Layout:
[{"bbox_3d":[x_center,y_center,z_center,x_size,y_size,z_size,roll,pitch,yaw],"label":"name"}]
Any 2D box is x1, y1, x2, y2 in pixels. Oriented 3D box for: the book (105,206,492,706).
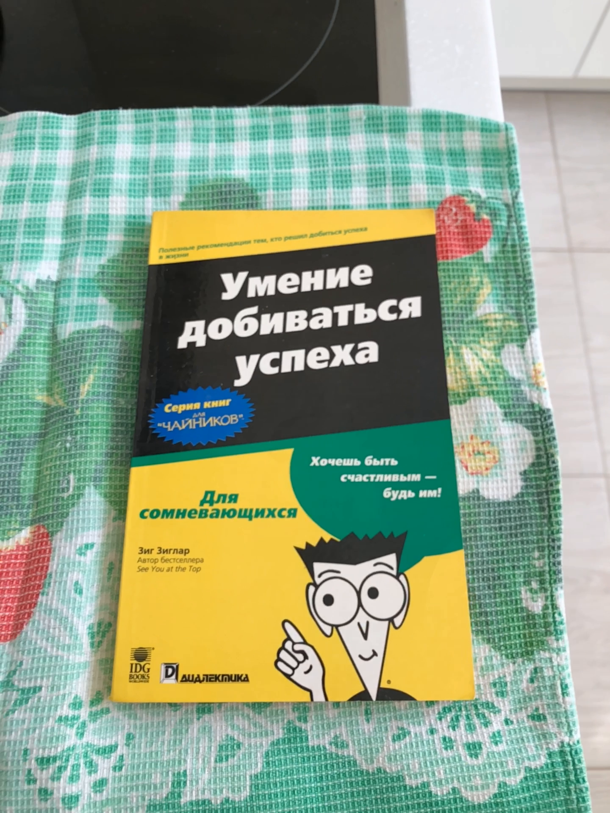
[{"bbox_3d":[-0.002,0.009,0.236,0.113,0.017,0.172,-1,70,2],"label":"book"}]
